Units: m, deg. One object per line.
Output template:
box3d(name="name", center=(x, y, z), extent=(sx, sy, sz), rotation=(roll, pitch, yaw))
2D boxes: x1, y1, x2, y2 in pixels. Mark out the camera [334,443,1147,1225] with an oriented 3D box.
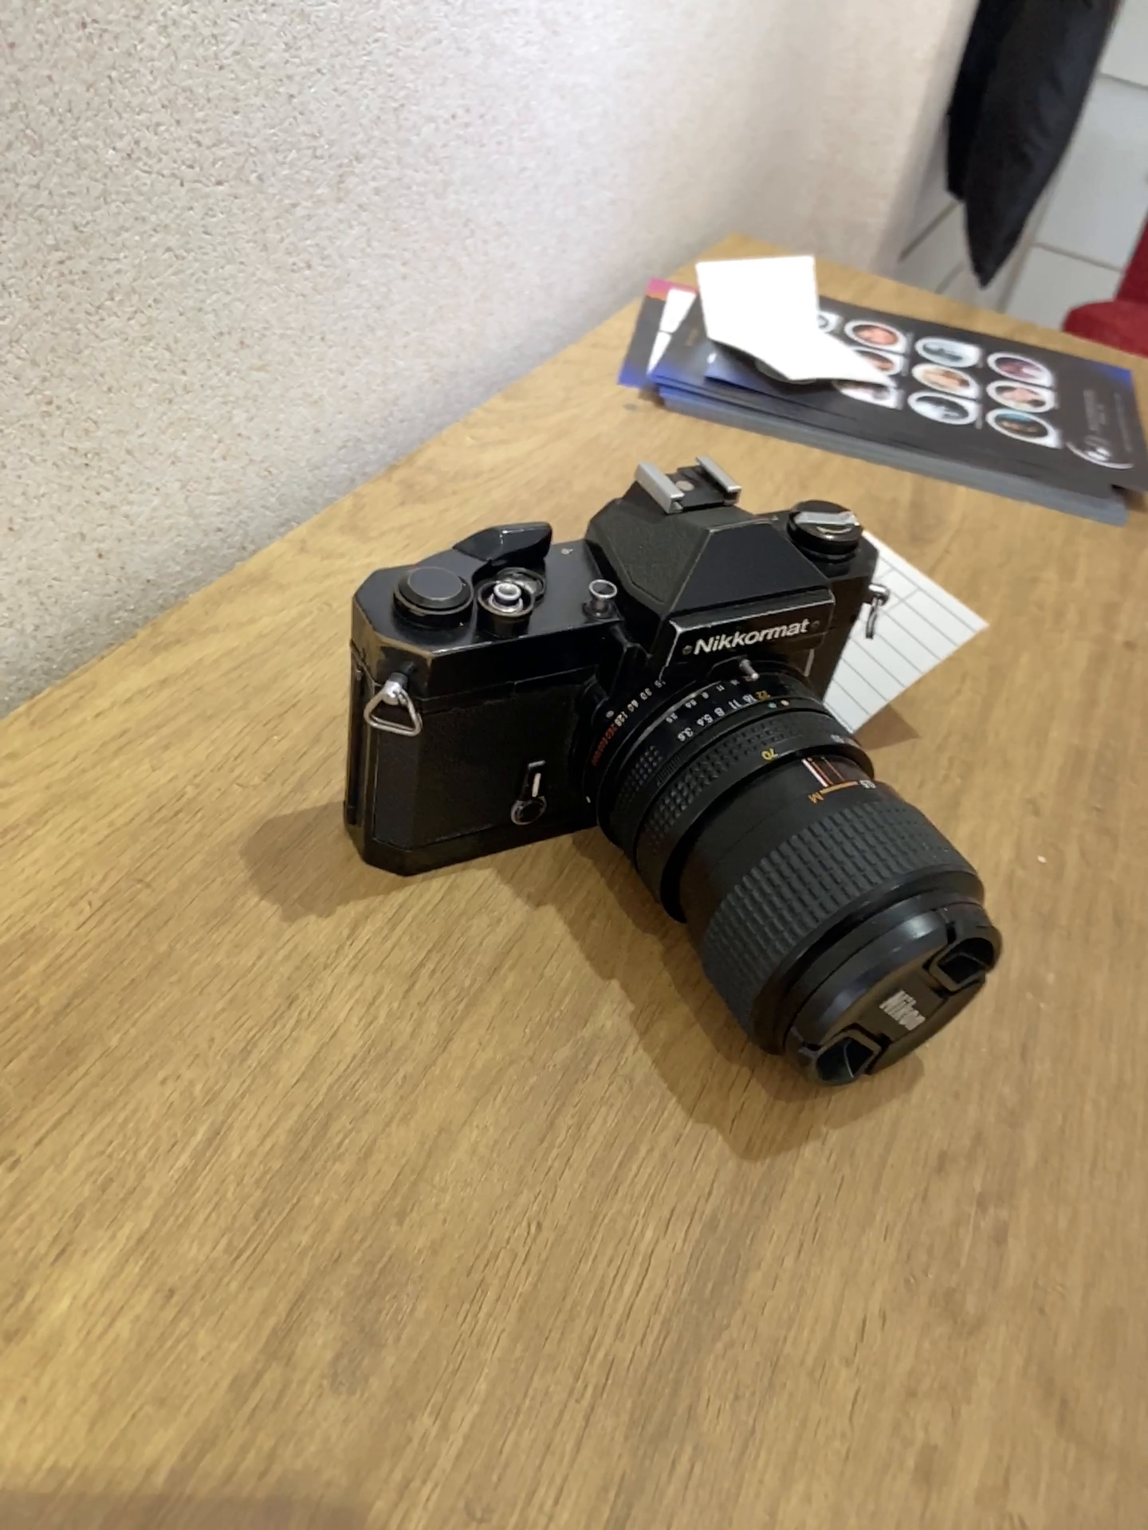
box3d(name="camera", center=(0.039, 0.001, 0.291), extent=(0.160, 0.089, 0.141), rotation=(-11, 45, -23))
